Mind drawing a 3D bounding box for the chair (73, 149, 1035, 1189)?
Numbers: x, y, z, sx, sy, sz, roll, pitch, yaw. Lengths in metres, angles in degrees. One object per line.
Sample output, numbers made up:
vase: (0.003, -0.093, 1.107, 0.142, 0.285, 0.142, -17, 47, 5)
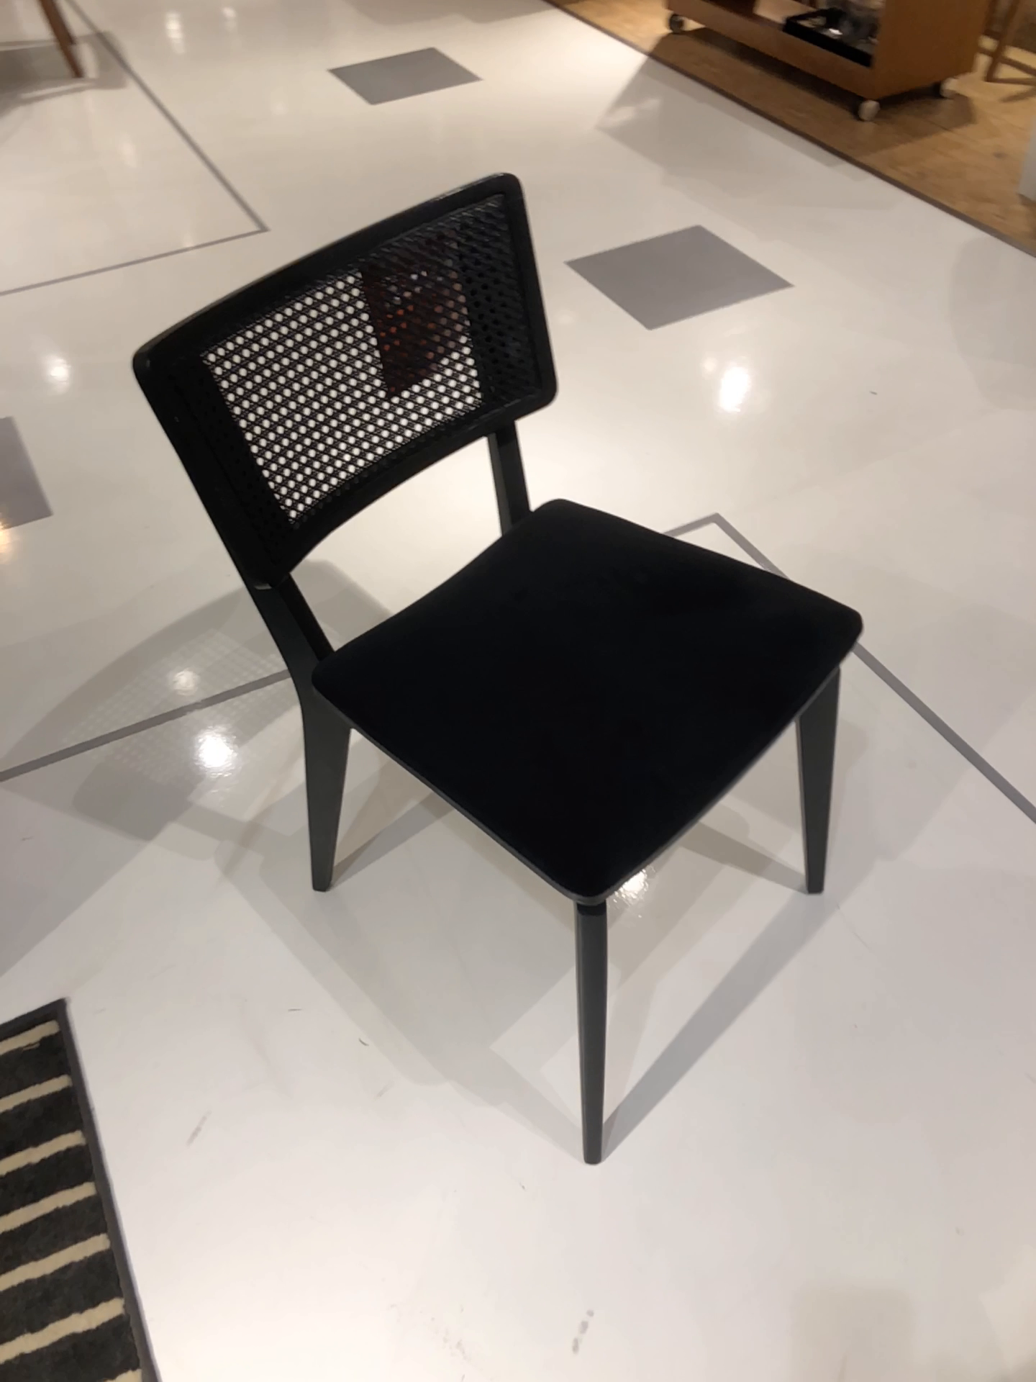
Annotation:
chair: (0.046, -0.024, 1.164, 0.551, 0.745, 0.532, 30, 54, 29)
